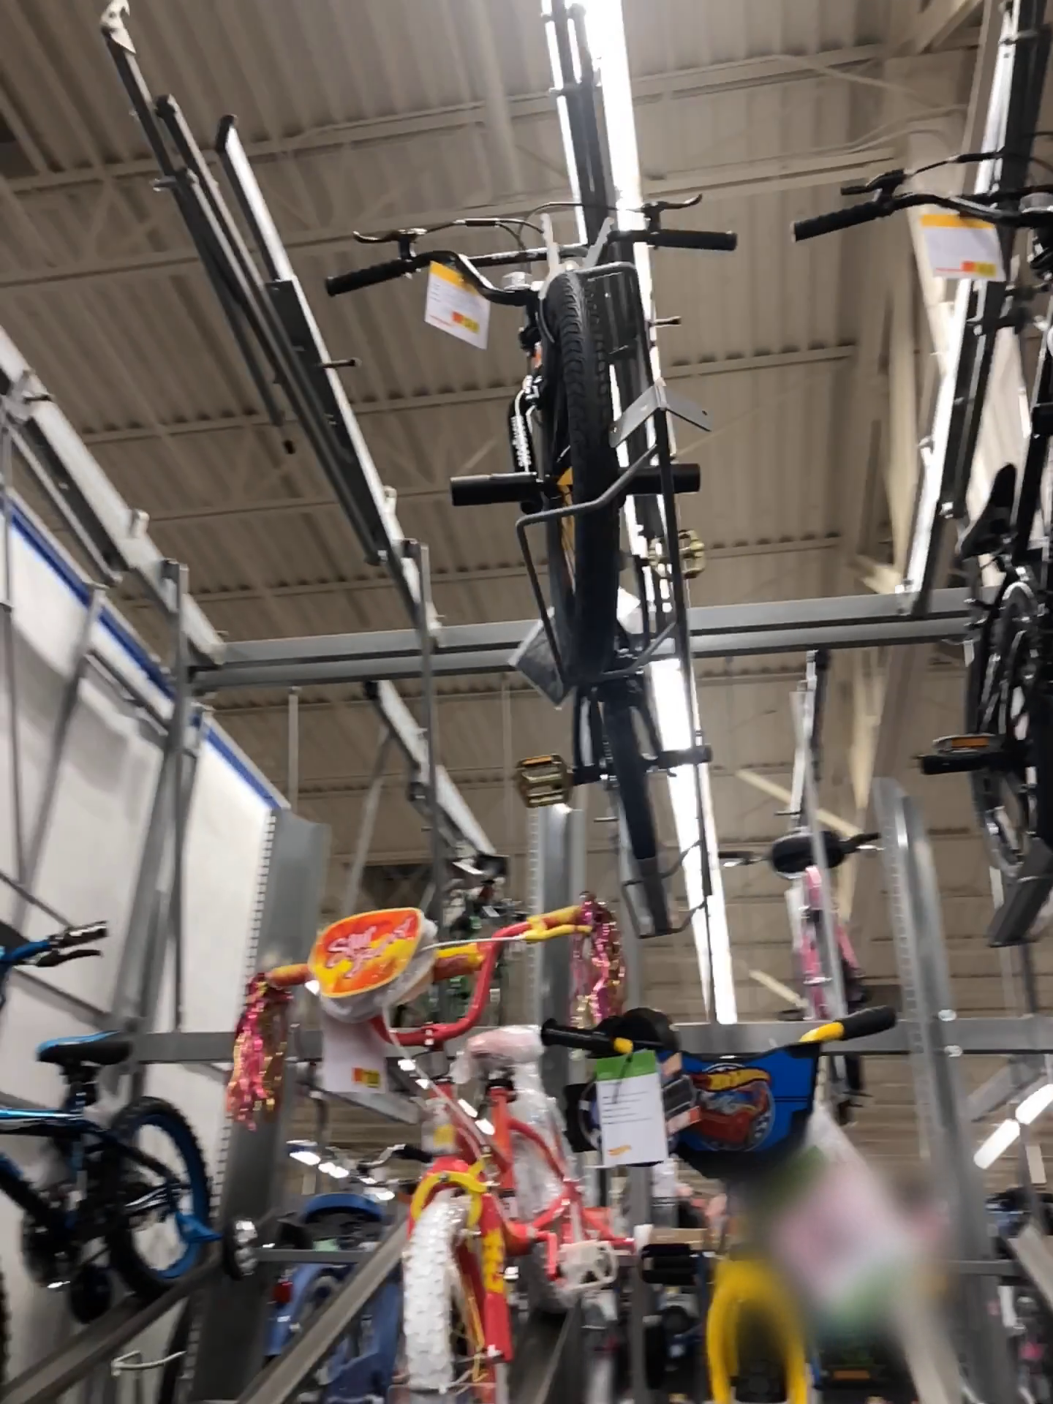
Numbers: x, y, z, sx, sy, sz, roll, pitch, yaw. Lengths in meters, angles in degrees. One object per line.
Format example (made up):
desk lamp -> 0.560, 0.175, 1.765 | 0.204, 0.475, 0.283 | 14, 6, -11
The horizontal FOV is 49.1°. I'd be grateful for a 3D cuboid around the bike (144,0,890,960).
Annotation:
bike -> 0.097, -0.222, 1.941 | 0.754, 0.910, 1.345 | -4, -30, 10
